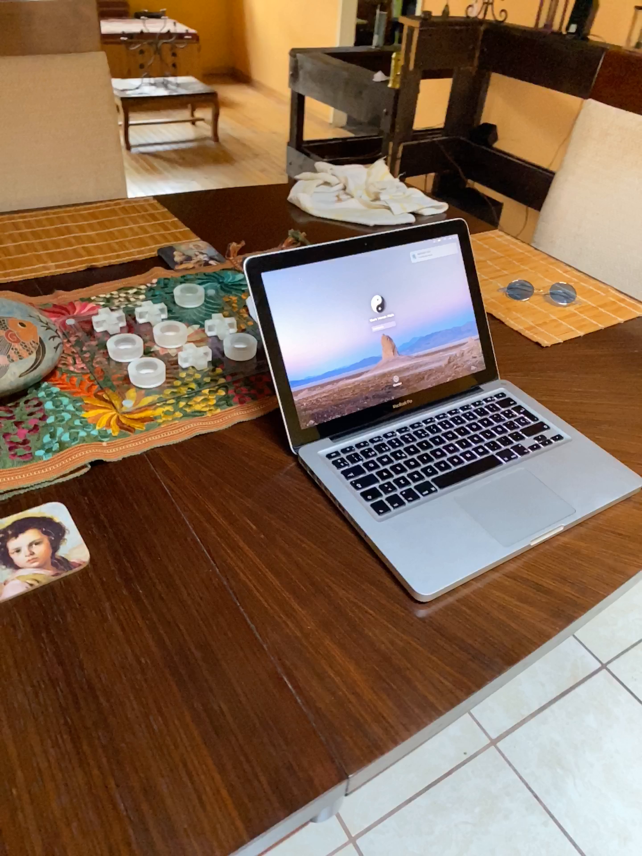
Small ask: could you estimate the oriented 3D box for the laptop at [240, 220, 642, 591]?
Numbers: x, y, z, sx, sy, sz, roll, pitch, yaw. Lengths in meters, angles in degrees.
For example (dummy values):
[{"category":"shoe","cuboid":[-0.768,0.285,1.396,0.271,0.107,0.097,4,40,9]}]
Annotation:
[{"category":"laptop","cuboid":[0.134,-0.064,0.743,0.325,0.170,0.358,-18,44,-27]}]
